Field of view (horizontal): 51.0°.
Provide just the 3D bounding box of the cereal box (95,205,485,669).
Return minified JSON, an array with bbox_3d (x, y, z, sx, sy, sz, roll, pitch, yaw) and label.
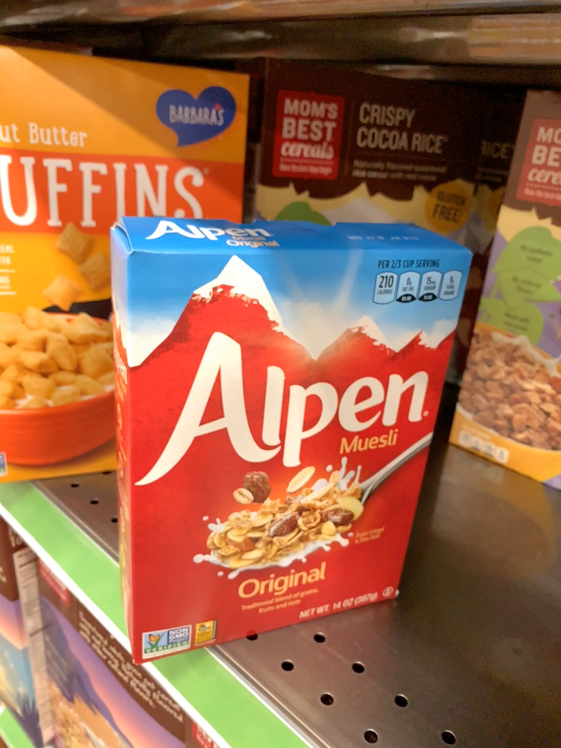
[{"bbox_3d":[-0.001,0.031,0.286,0.160,0.209,0.040,-5,25,-22],"label":"cereal box"}]
